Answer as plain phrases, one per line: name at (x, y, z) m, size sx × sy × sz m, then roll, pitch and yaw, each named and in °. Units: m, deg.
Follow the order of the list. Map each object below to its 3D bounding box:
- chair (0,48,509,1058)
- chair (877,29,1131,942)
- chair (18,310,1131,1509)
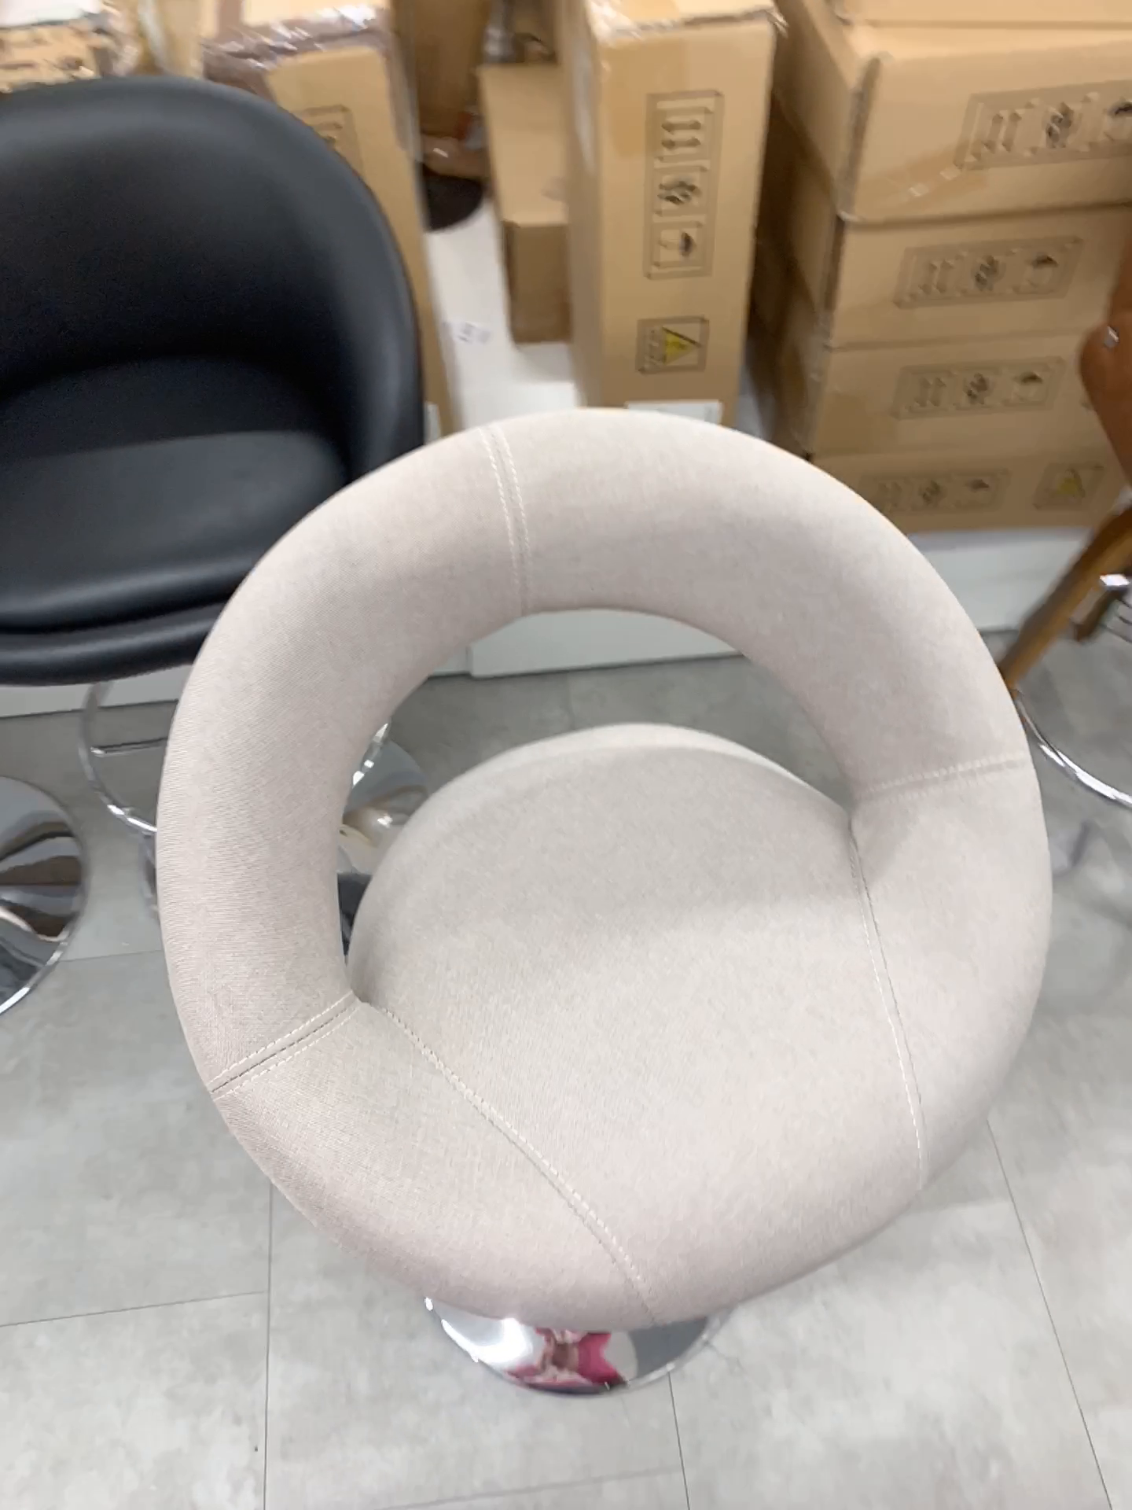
chair at (-0.388, -0.124, 1.257) m, size 0.516 × 0.935 × 0.486 m, roll -13°, pitch 57°, yaw -8°
chair at (0.735, -0.237, 1.348) m, size 0.516 × 0.866 × 0.547 m, roll 5°, pitch 56°, yaw 3°
chair at (0.039, 0.246, 0.969) m, size 0.566 × 0.965 × 0.486 m, roll -16°, pitch 58°, yaw -10°
